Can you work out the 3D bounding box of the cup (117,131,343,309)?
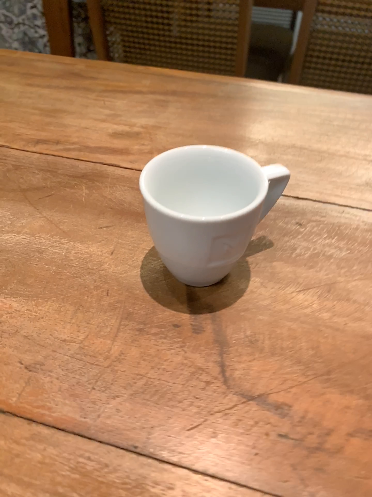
[{"bbox_3d":[0.017,-0.018,0.200,0.090,0.050,0.060,-12,46,-14],"label":"cup"}]
